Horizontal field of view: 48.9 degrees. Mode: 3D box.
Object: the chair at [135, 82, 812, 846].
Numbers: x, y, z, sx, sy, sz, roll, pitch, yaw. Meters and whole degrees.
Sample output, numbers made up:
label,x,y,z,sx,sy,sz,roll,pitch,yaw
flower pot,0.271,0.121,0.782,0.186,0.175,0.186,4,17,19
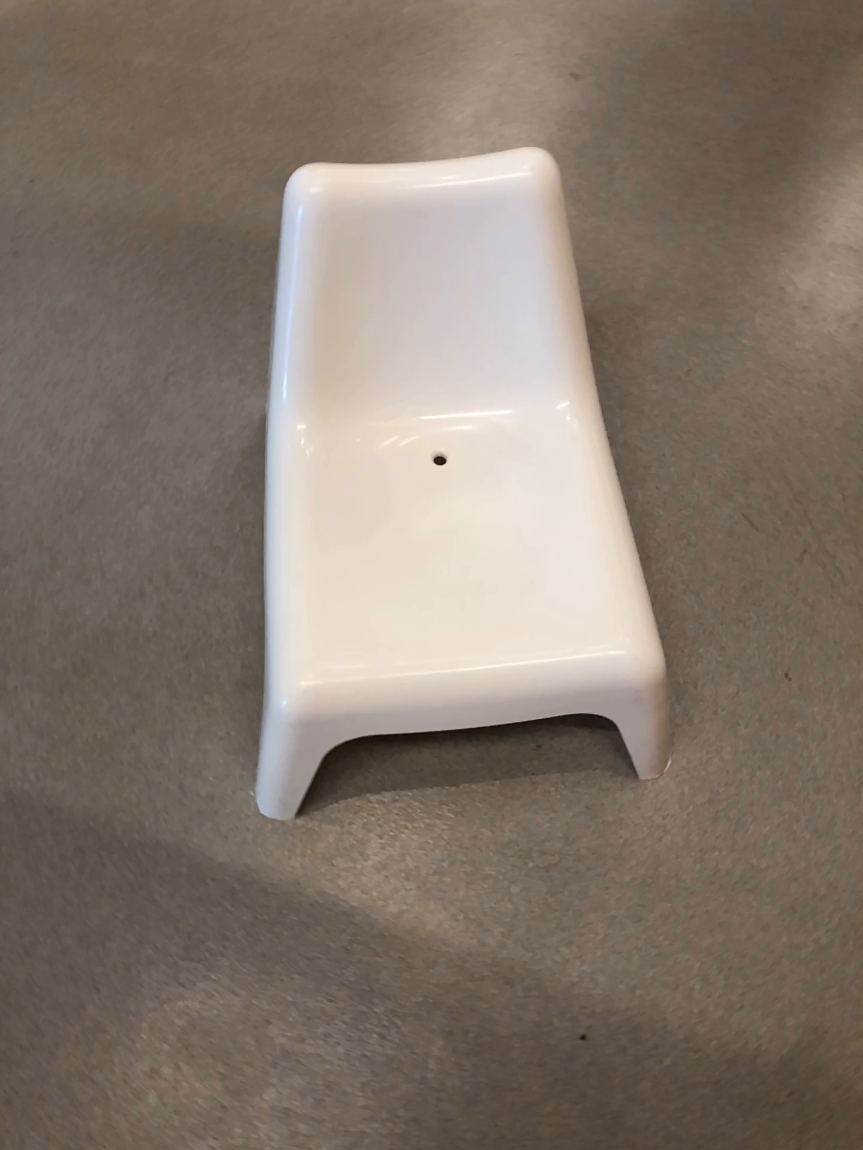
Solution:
label,x,y,z,sx,sy,sz,roll,pitch,yaw
chair,-0.009,-0.118,1.063,0.530,0.400,0.691,-7,64,-3
